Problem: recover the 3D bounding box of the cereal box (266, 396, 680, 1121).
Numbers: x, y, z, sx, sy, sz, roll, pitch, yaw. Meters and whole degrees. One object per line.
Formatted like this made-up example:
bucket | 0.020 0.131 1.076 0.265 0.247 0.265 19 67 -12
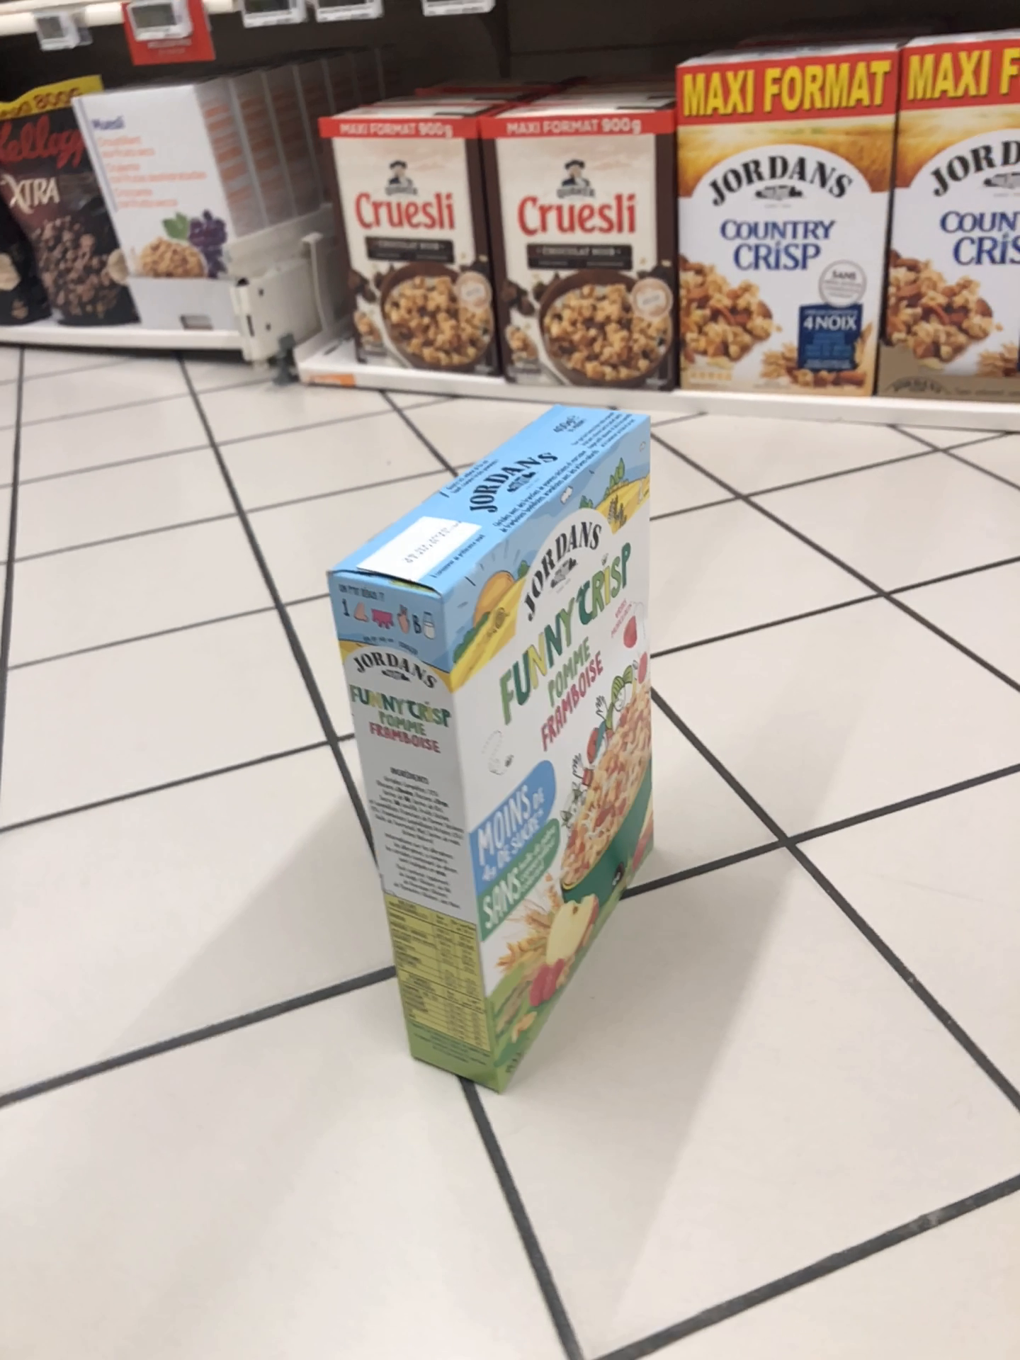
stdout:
cereal box | 0.005 0.025 0.467 0.070 0.229 0.181 11 35 26
